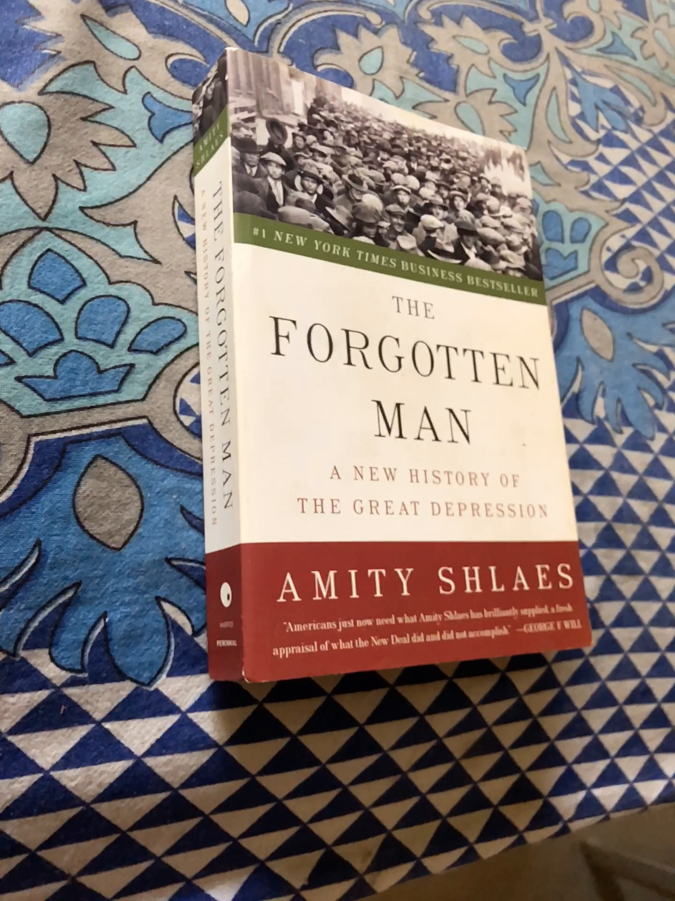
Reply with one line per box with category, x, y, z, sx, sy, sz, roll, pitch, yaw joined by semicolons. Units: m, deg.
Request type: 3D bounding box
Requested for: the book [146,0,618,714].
book;0.015;-0.028;0.258;0.141;0.050;0.200;2;78;-32
